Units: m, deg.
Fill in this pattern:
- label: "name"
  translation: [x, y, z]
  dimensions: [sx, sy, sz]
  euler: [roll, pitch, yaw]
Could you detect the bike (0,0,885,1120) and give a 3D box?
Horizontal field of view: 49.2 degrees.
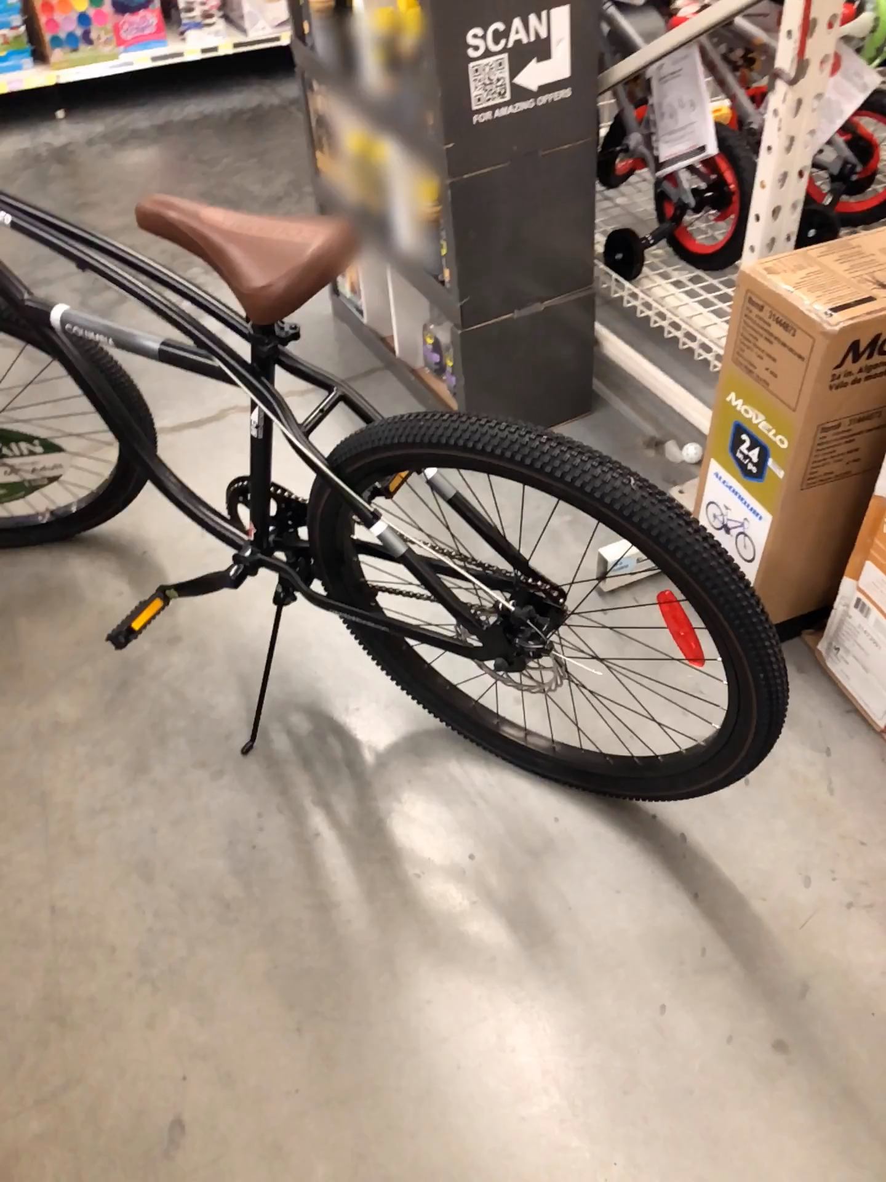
- label: "bike"
  translation: [-0.411, -0.222, 1.113]
  dimensions: [1.584, 0.975, 0.655]
  euler: [19, 48, 15]
